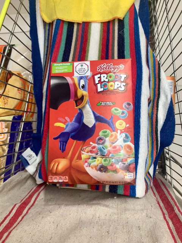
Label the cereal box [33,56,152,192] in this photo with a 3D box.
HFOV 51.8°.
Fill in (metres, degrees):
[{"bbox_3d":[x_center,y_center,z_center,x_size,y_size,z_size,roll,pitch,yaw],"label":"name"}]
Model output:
[{"bbox_3d":[0.002,0.003,0.381,0.210,0.060,0.250,-1,80,7],"label":"cereal box"}]
